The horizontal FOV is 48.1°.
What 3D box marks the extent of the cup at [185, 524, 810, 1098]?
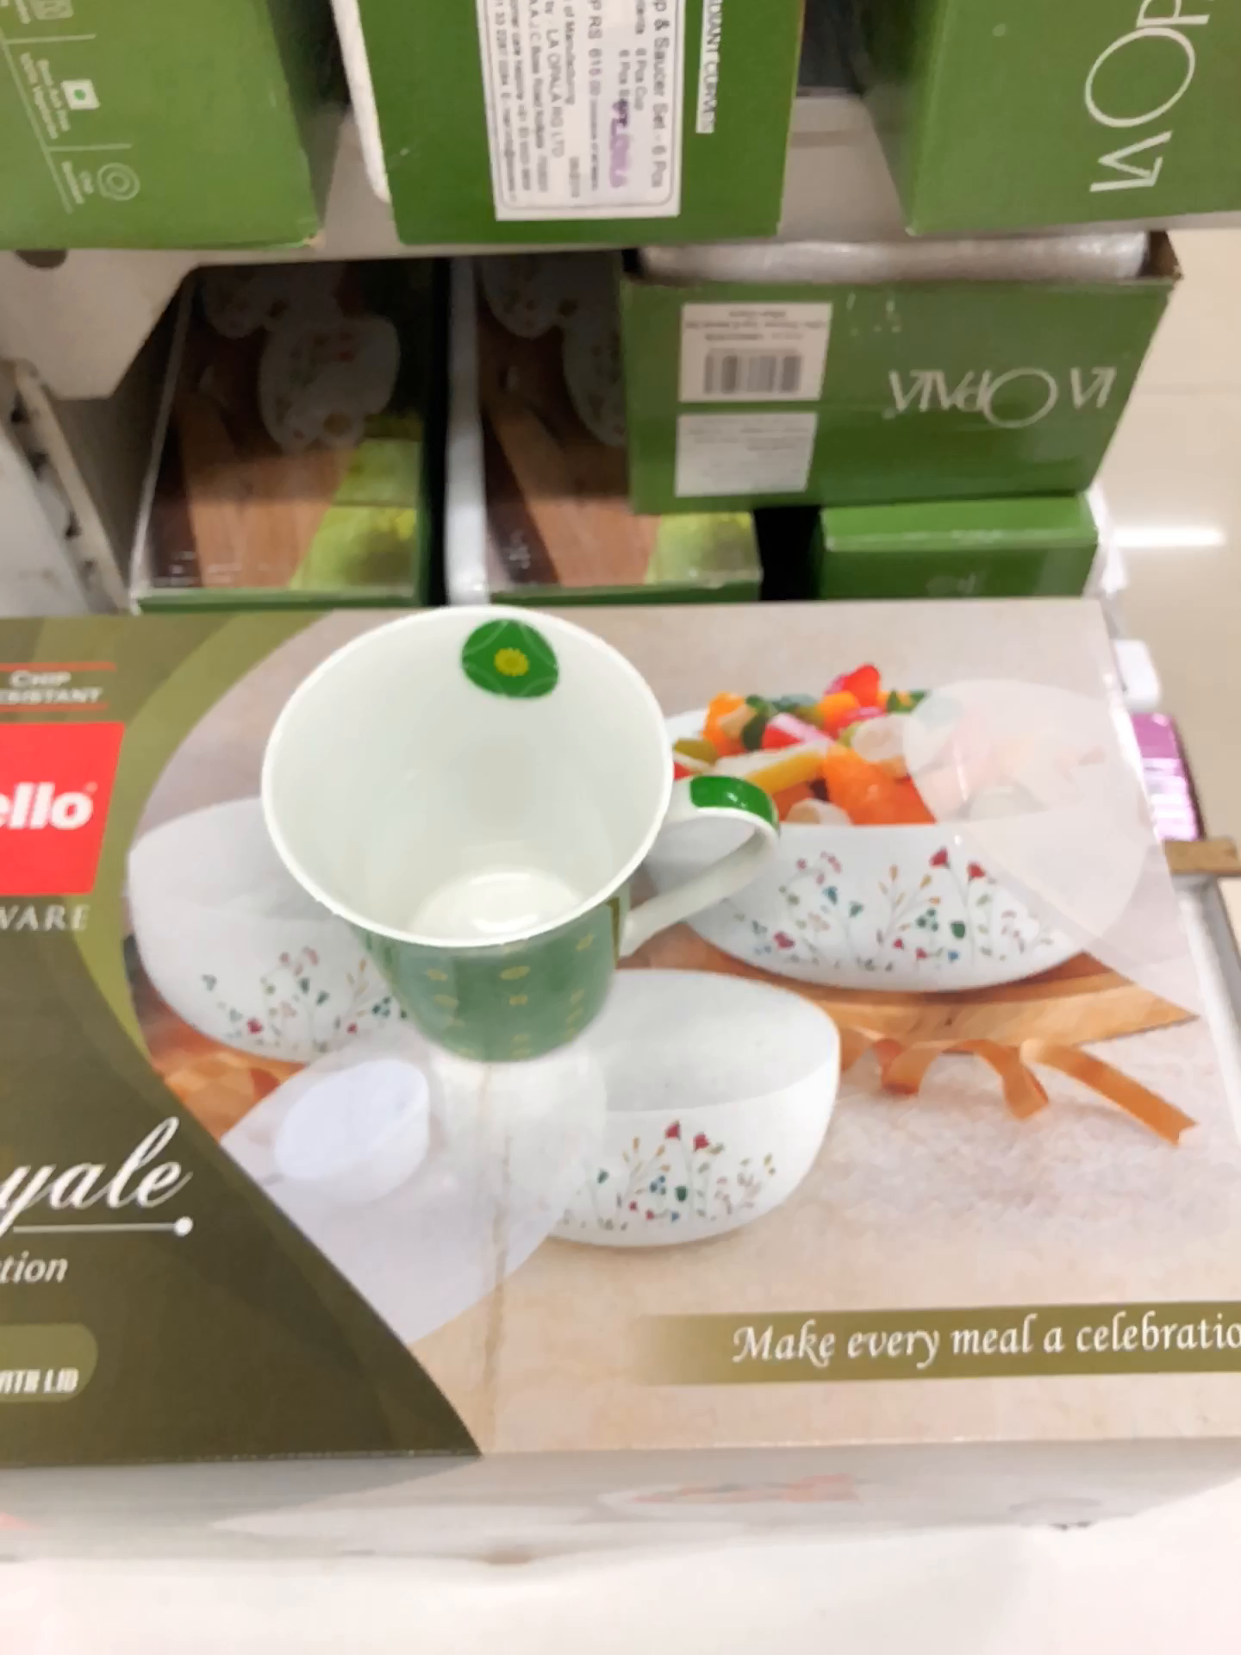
[{"bbox_3d":[-0.023,-0.001,0.308,0.110,0.090,0.090,-1,57,-1],"label":"cup"}]
